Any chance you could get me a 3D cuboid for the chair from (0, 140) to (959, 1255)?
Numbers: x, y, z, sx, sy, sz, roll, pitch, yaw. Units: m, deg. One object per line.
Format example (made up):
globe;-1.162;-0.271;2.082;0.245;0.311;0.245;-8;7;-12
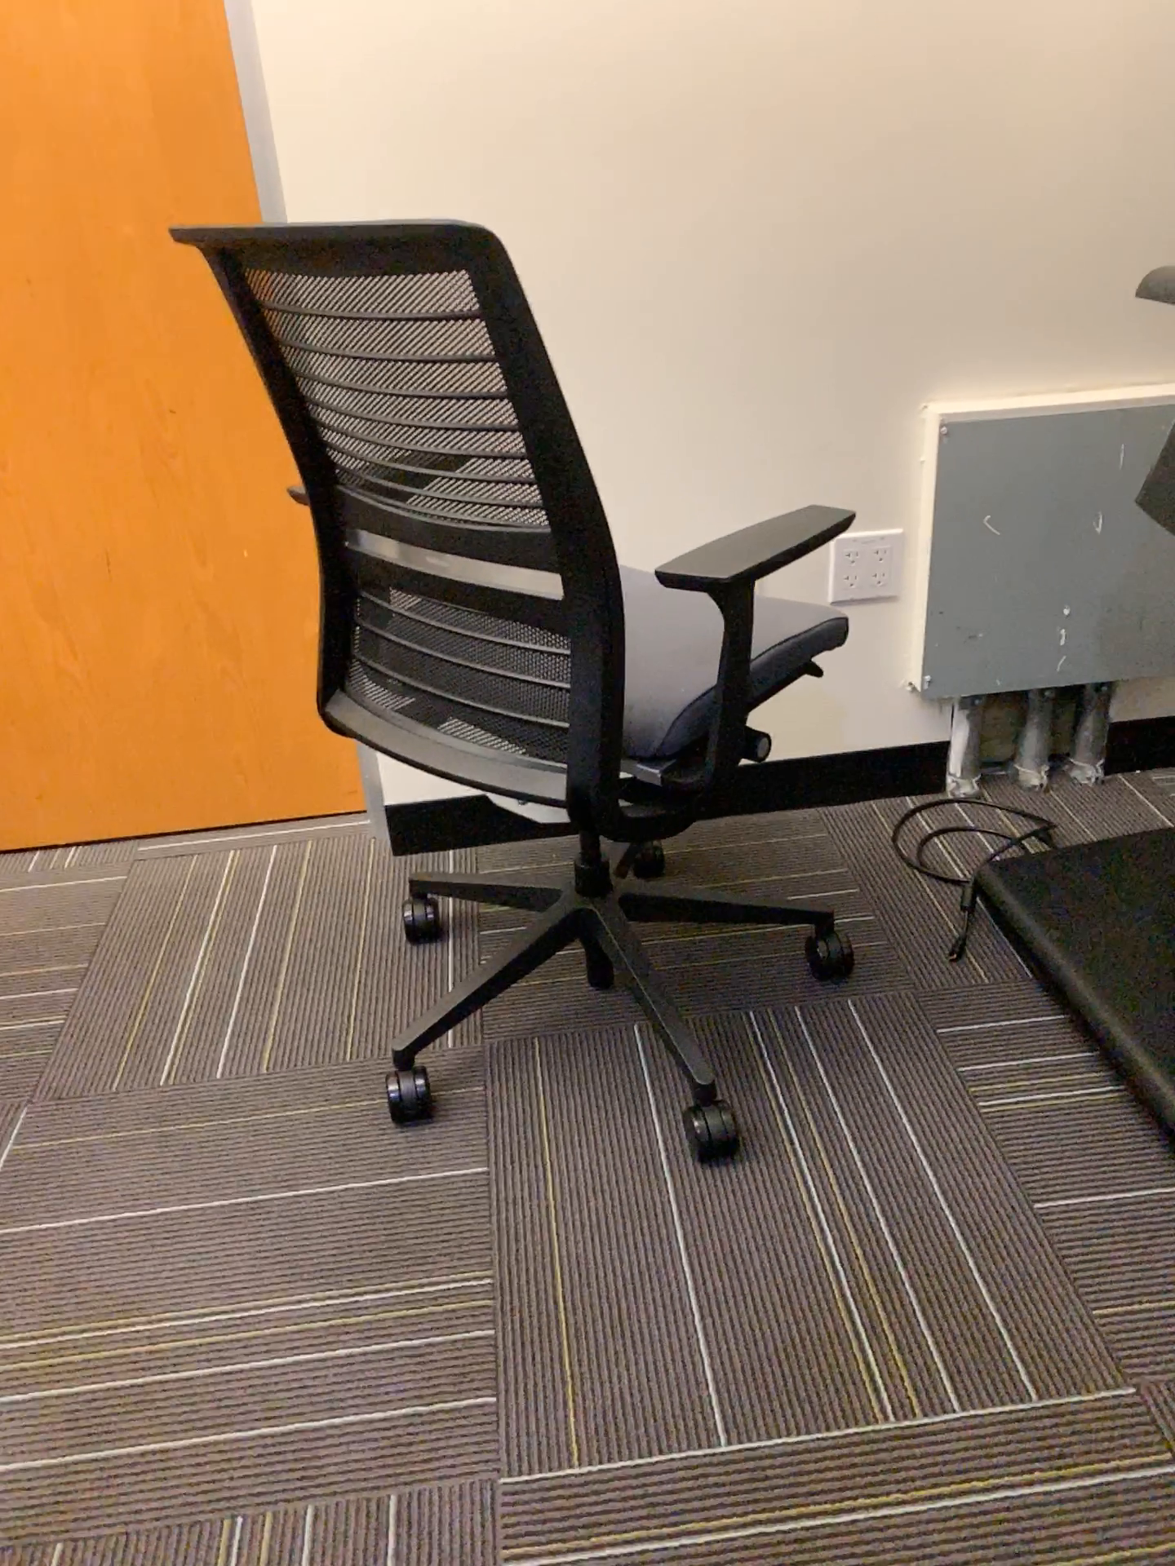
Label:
chair;-0.048;-0.188;1.473;0.742;0.994;0.783;11;31;26
